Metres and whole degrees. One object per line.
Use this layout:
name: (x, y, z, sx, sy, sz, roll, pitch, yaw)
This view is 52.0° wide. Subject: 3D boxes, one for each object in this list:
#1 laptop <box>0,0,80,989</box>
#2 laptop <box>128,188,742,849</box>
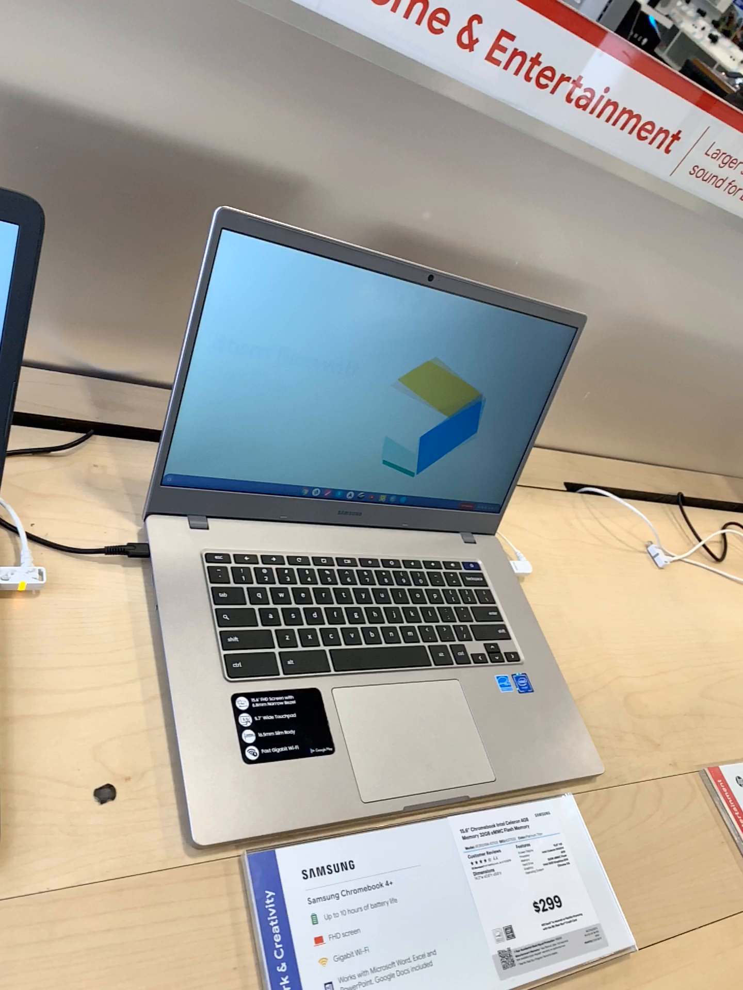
laptop: (-0.327, -0.003, 0.316, 0.321, 0.193, 0.294, 5, 48, -34)
laptop: (0.044, 0.017, 0.560, 0.352, 0.205, 0.338, 5, 50, -33)
